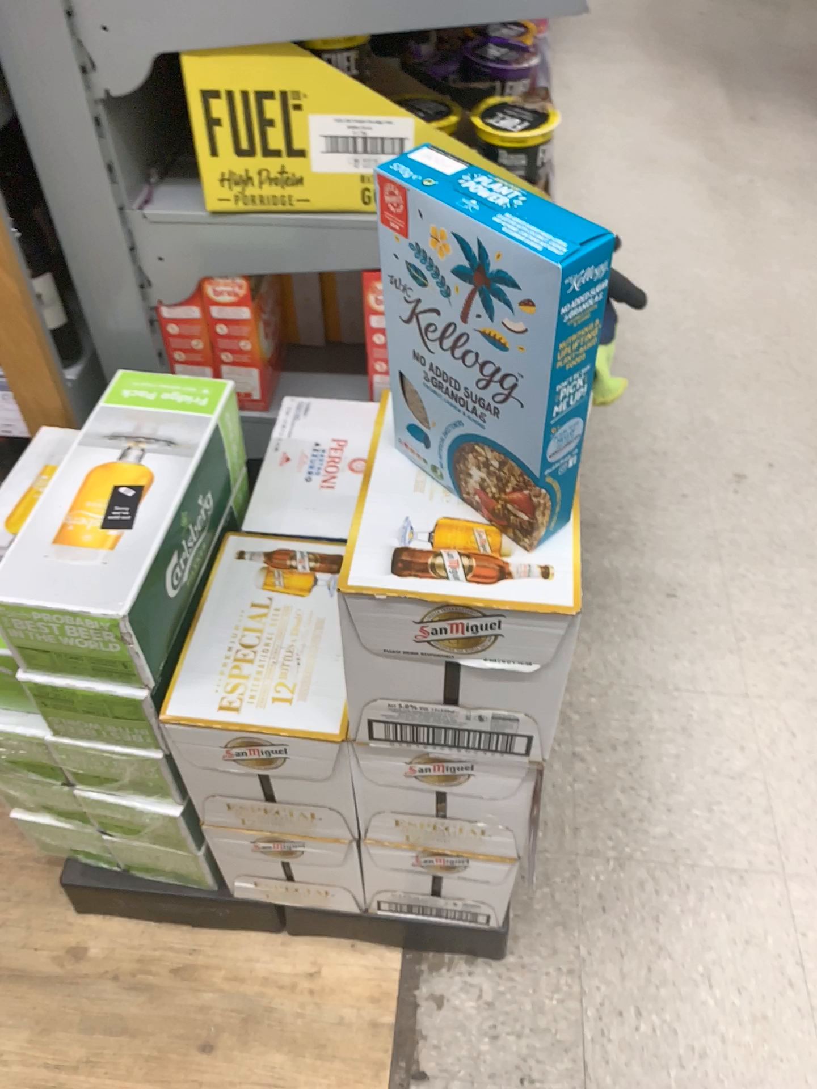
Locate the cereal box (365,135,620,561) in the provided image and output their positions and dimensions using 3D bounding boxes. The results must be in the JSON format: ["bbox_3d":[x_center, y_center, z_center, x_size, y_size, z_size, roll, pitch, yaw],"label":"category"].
[{"bbox_3d":[0.050,-0.126,0.583,0.050,0.248,0.161,-34,56,-23],"label":"cereal box"}]
